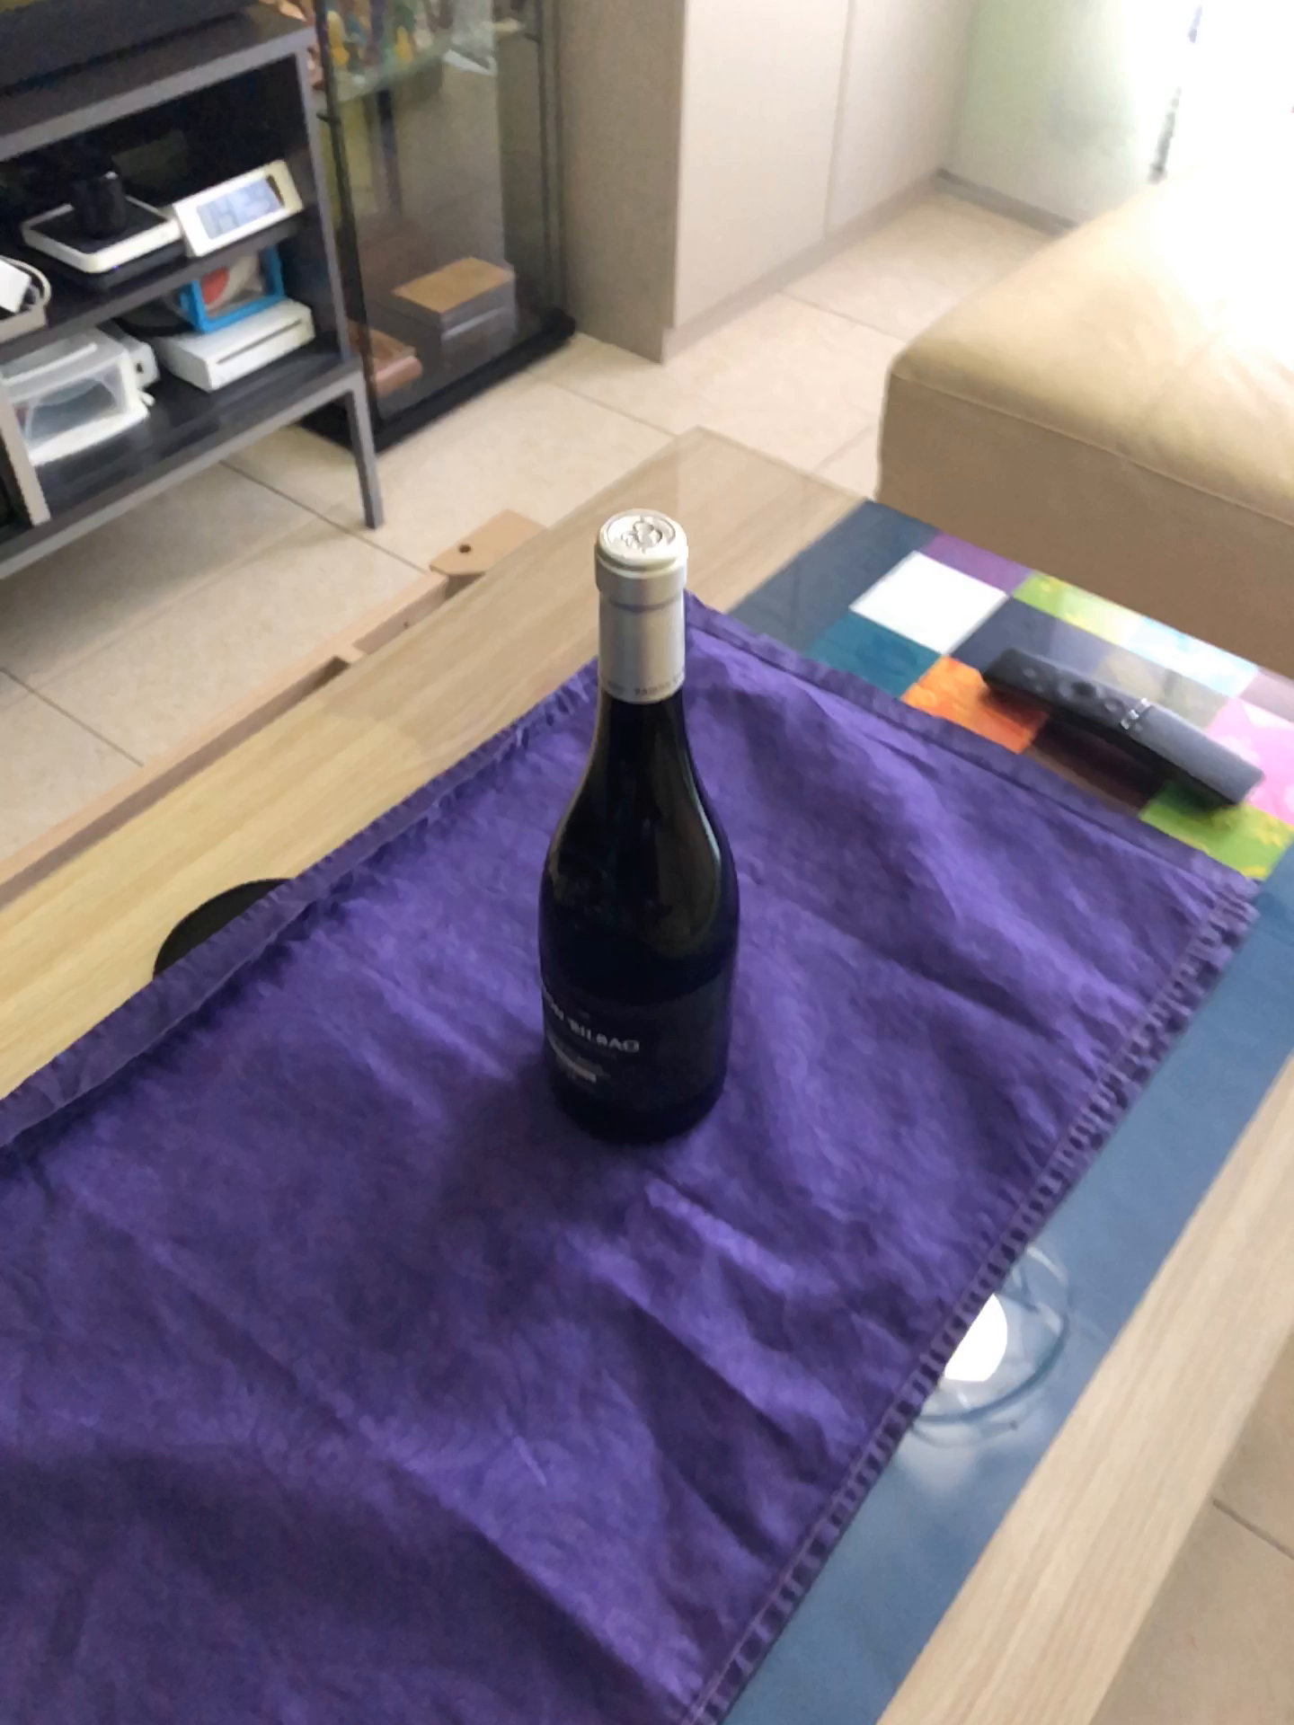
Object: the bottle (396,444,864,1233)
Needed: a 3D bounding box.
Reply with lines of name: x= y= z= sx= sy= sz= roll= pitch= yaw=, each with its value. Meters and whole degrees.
bottle: x=-0.009 y=0.006 z=0.516 sx=0.100 sy=0.269 sz=0.100 roll=1 pitch=47 yaw=-1
